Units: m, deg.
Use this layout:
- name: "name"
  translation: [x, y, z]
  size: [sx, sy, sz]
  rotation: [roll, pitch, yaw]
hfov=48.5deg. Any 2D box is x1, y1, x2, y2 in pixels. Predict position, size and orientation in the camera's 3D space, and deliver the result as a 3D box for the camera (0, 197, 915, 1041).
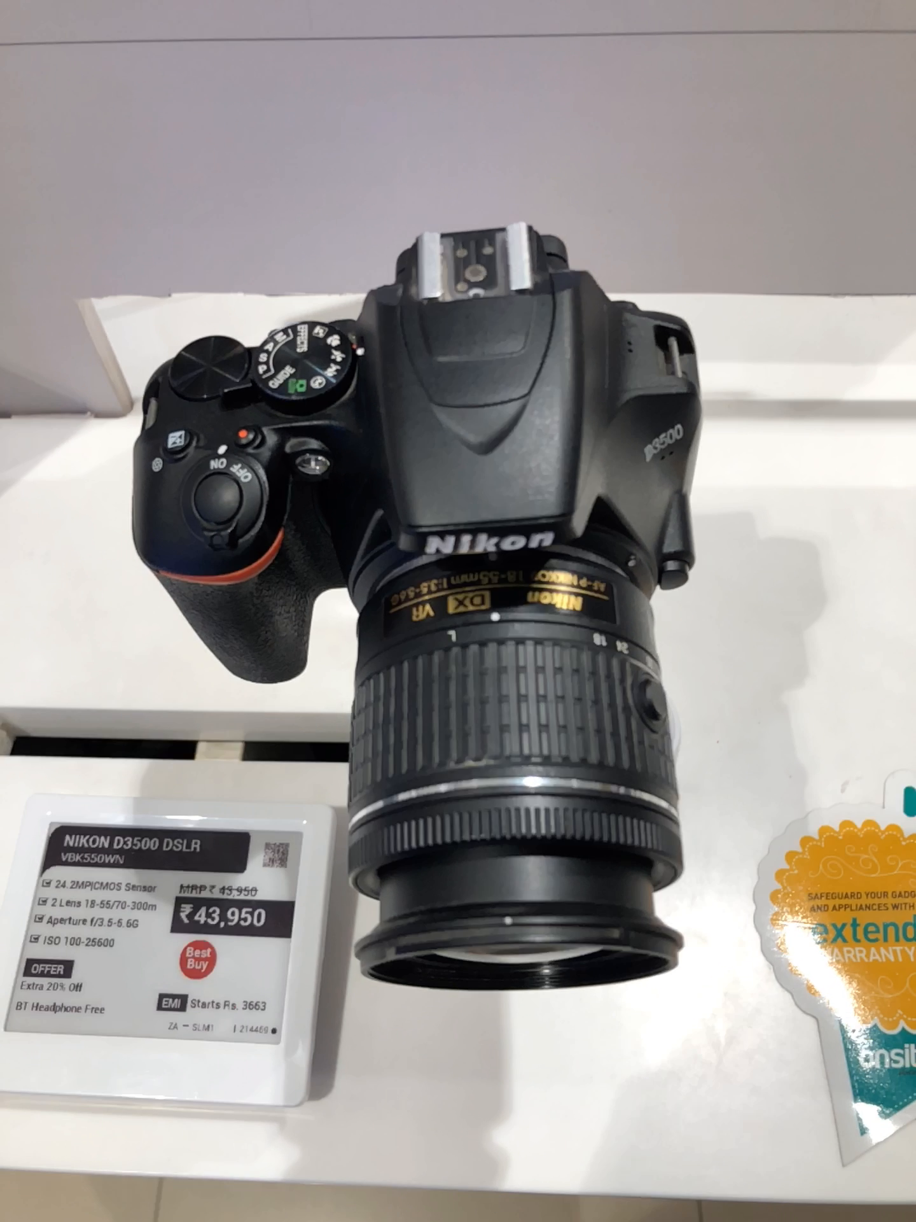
- name: "camera"
  translation: [-0.003, 0.005, 0.189]
  size: [0.120, 0.090, 0.120]
  rotation: [-4, 59, 1]
